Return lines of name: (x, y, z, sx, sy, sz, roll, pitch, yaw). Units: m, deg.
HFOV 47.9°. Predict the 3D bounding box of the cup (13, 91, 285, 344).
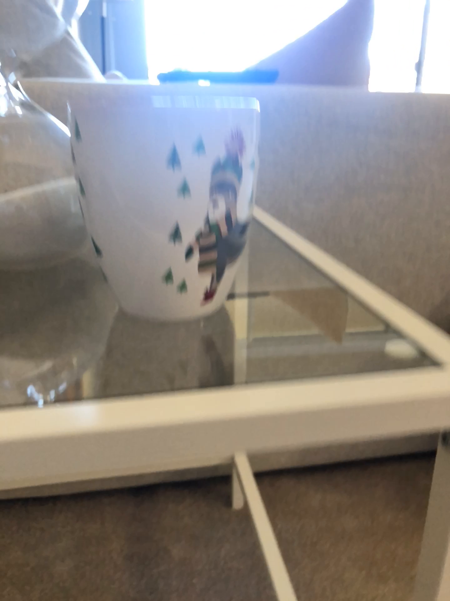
cup: (-0.027, -0.060, 0.299, 0.100, 0.110, 0.151, 5, 20, 14)
